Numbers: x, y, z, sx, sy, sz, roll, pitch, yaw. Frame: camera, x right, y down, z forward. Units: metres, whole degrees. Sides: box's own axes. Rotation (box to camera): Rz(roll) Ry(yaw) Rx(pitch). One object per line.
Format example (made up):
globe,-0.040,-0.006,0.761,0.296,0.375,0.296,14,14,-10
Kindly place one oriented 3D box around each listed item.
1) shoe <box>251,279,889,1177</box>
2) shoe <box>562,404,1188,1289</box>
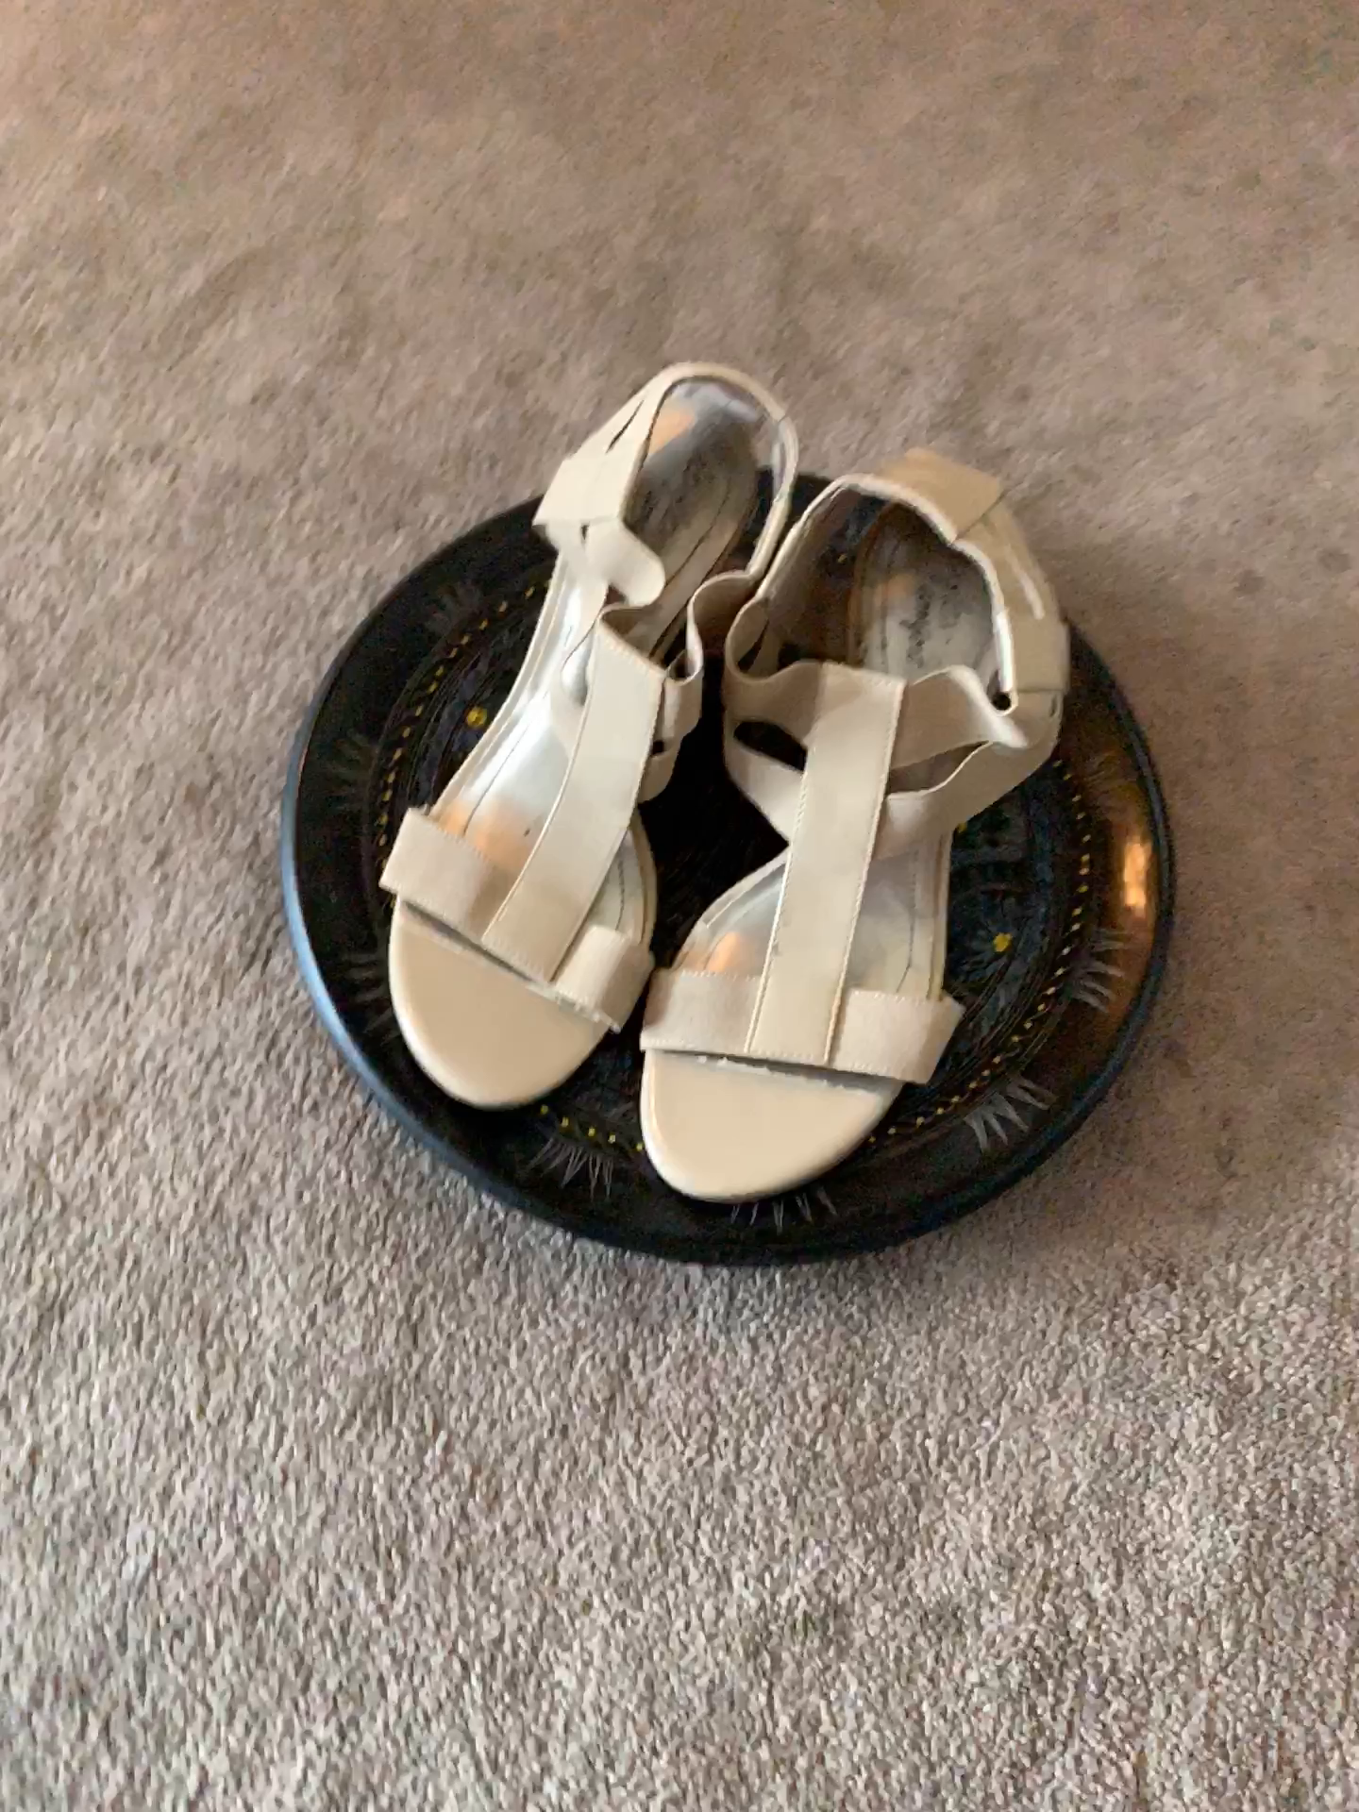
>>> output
shoe,-0.029,-0.049,0.429,0.100,0.090,0.230,20,83,-2
shoe,0.057,-0.015,0.414,0.090,0.090,0.220,22,83,7
